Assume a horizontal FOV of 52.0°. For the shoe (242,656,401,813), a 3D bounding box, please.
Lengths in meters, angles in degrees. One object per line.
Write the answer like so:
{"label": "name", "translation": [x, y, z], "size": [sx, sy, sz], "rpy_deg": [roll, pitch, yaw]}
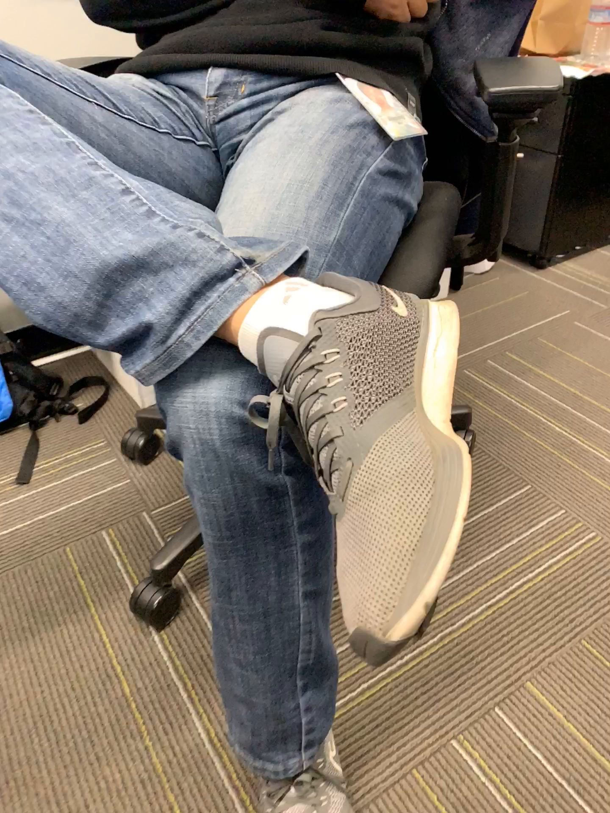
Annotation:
{"label": "shoe", "translation": [0.006, 0.445, 0.699], "size": [0.113, 0.092, 0.289], "rpy_deg": [-8, 37, -7]}

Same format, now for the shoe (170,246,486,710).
{"label": "shoe", "translation": [0.036, 0.013, 0.413], "size": [0.133, 0.120, 0.296], "rpy_deg": [8, 36, 9]}
